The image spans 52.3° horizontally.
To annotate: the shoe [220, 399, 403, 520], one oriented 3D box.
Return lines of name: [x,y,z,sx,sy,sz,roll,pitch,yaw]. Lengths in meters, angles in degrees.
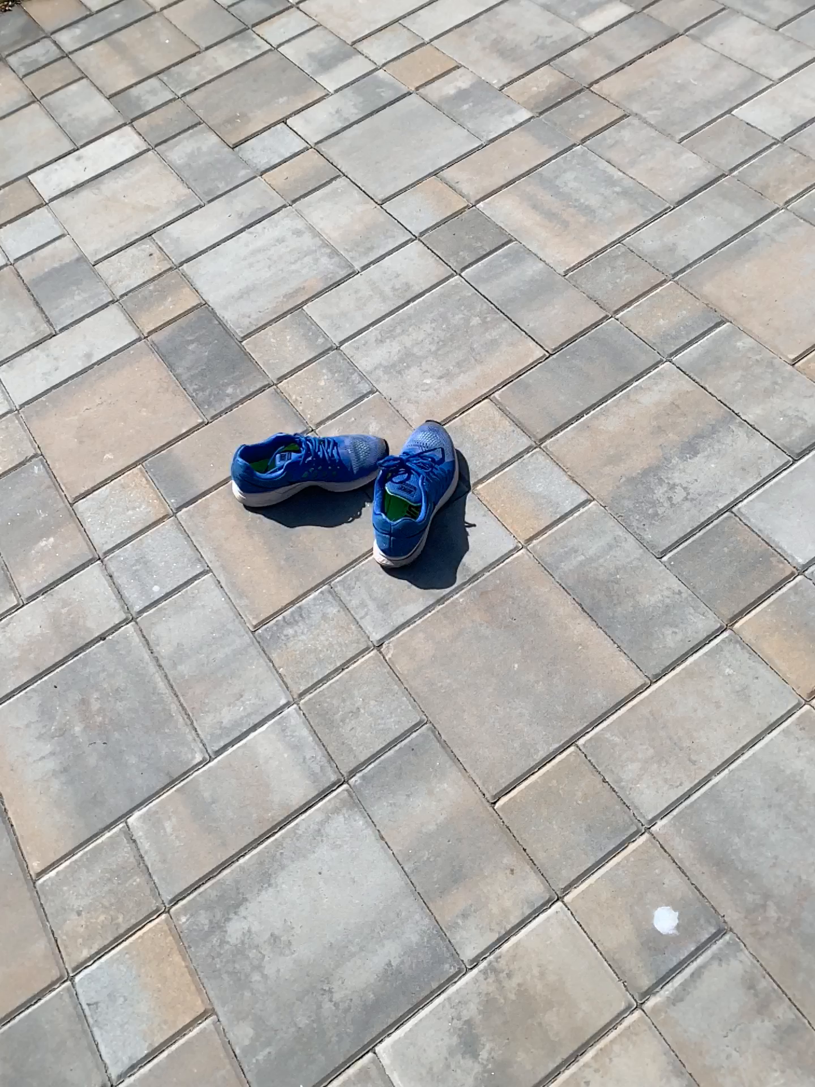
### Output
shoe: [-0.160,-0.140,1.384,0.280,0.080,0.120,-12,59,1]

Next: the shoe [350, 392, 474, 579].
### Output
shoe: [0.015,-0.097,1.332,0.120,0.110,0.270,10,62,14]
